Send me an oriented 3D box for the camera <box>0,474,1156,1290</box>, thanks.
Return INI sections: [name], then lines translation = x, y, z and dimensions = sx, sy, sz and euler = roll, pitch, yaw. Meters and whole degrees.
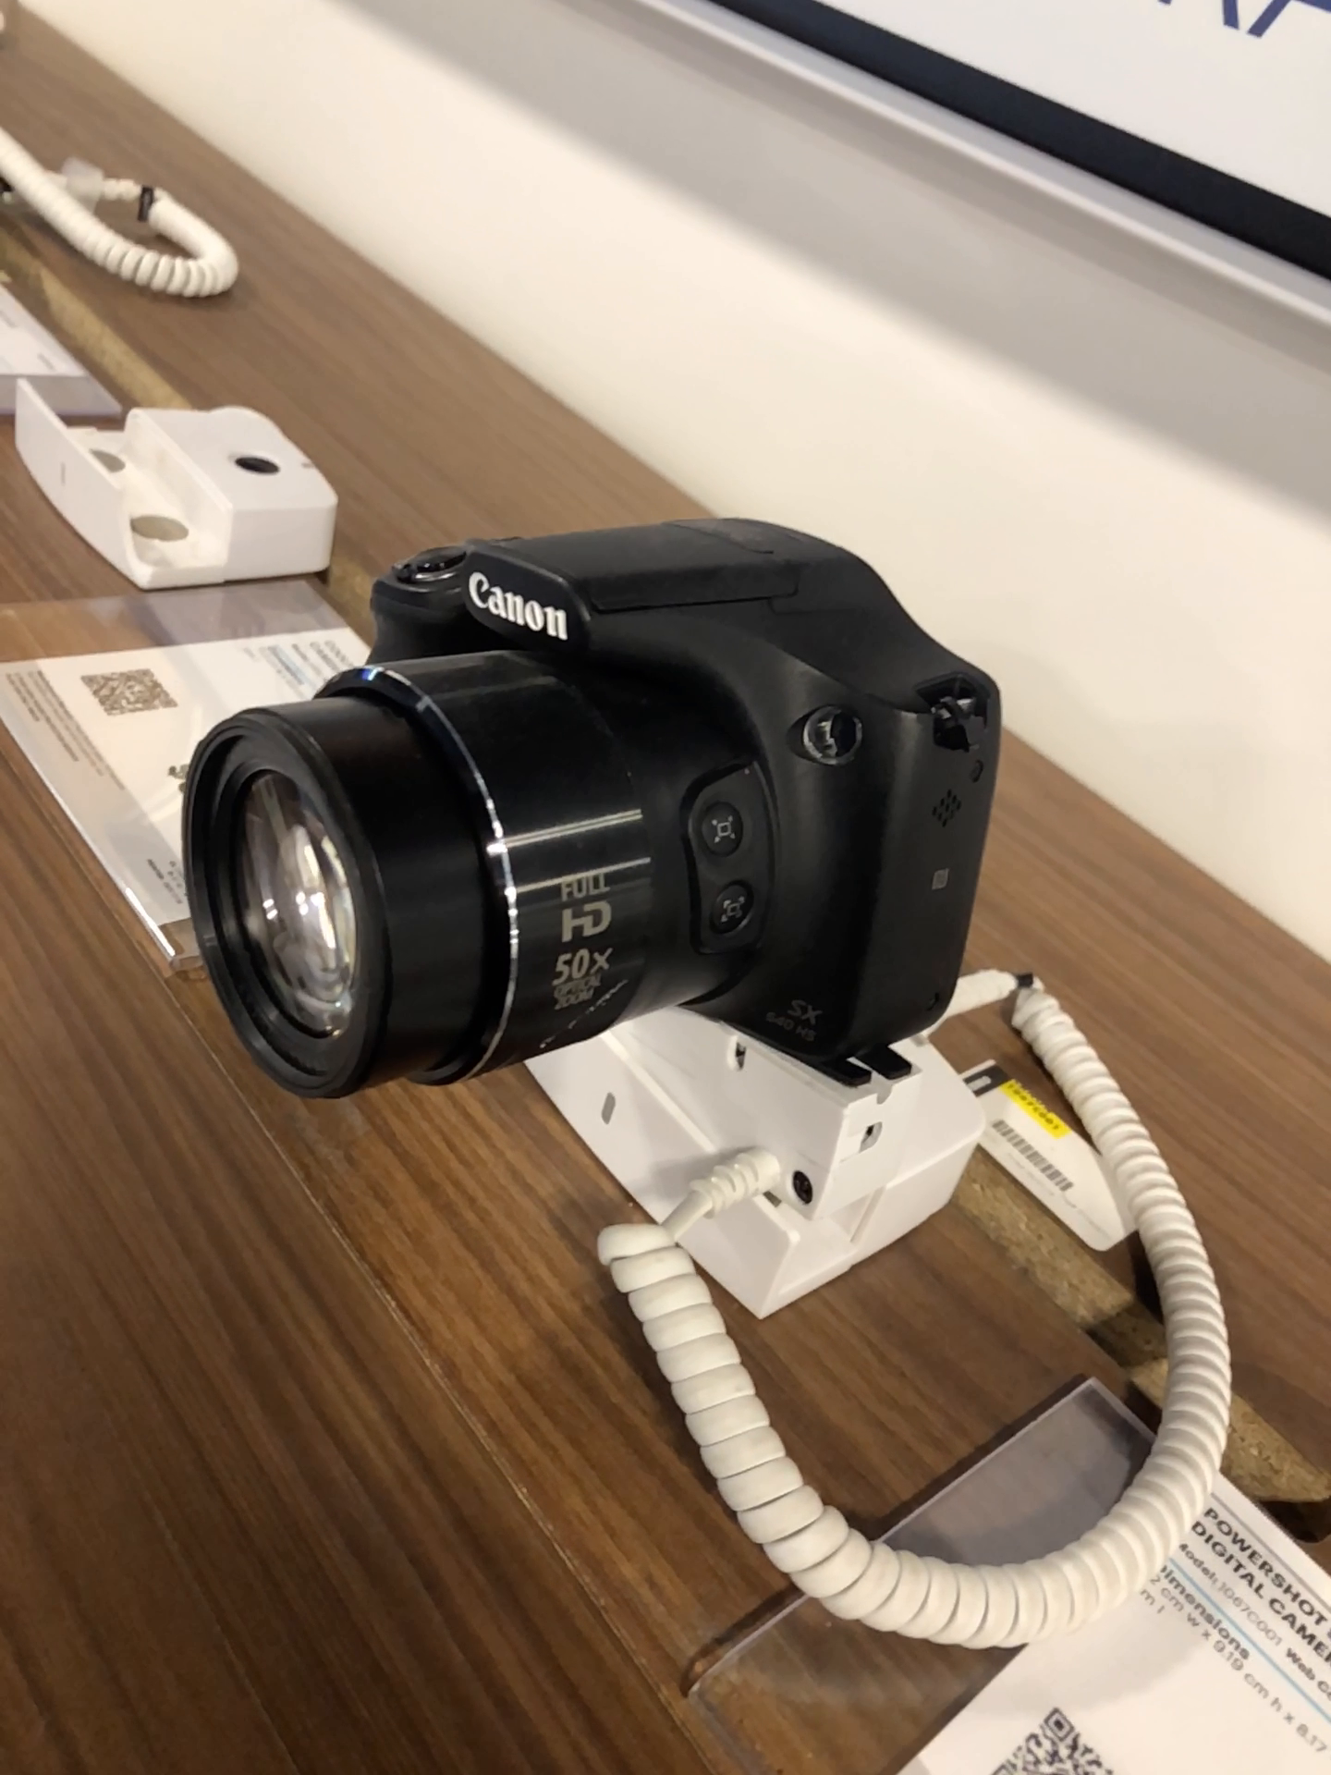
[camera]
translation = -0.017, -0.021, 0.254
dimensions = 0.140, 0.070, 0.130
euler = -17, 33, -42
